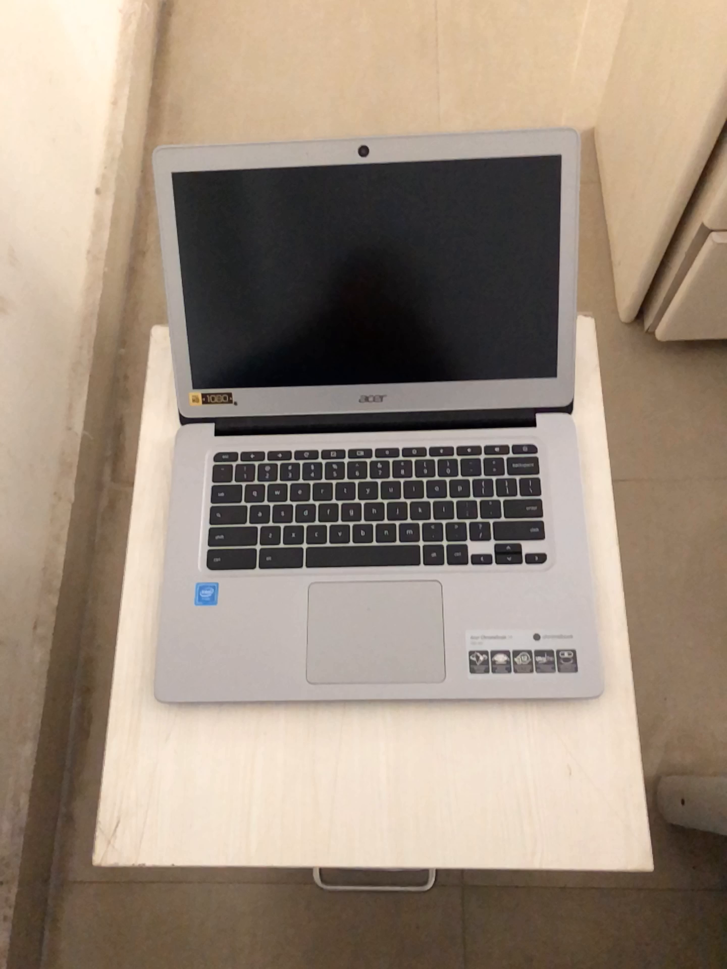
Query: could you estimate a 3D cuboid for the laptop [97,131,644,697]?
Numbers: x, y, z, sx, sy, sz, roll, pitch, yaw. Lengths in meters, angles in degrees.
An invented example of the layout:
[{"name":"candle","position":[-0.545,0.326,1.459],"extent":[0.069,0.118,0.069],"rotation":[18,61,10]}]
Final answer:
[{"name":"laptop","position":[0.005,-0.055,0.614],"extent":[0.332,0.126,0.408],"rotation":[-1,70,3]}]
